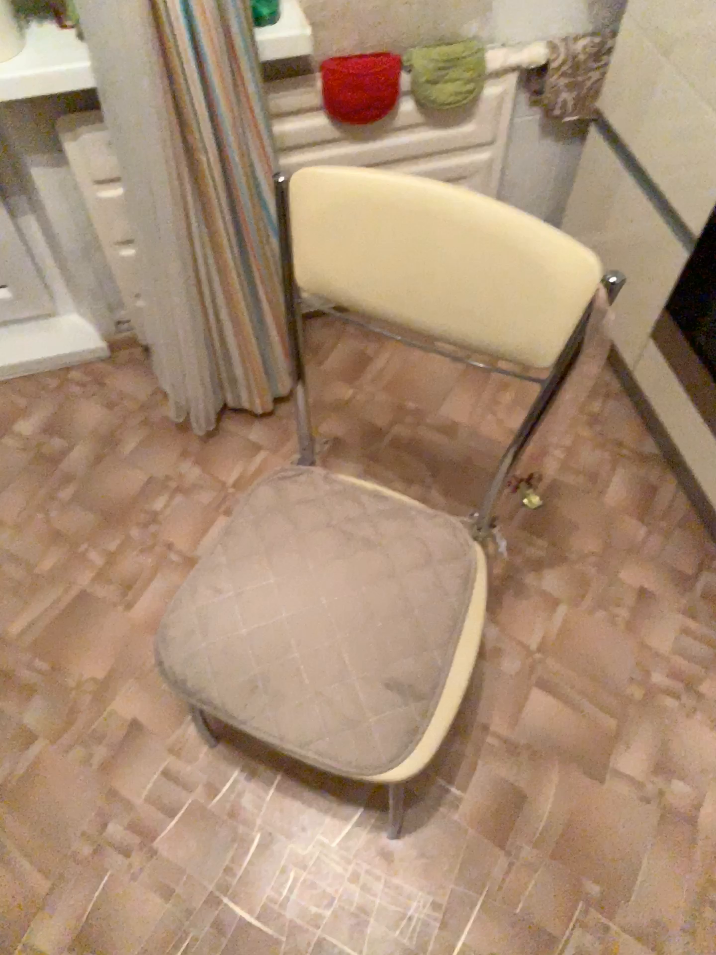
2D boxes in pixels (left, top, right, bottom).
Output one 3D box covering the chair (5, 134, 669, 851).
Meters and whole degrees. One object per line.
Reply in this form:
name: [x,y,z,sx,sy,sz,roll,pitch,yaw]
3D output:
chair: [0.015,0.119,0.980,0.384,0.855,0.492,21,61,12]
